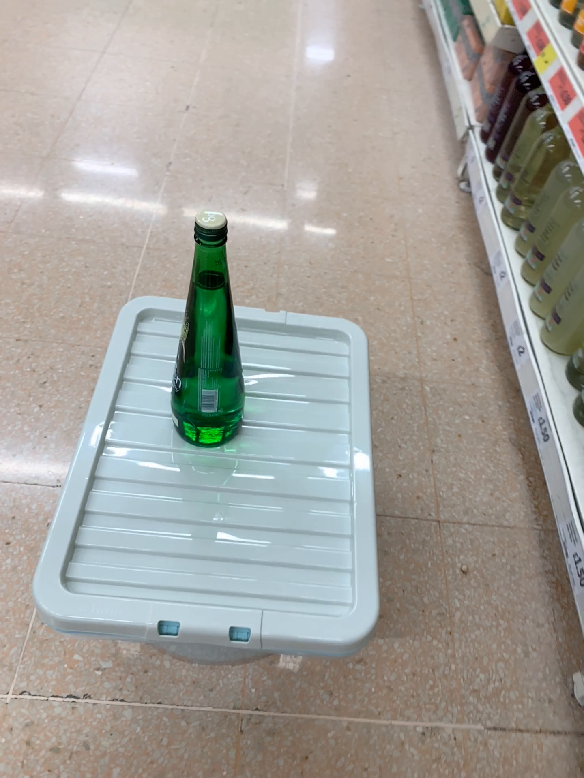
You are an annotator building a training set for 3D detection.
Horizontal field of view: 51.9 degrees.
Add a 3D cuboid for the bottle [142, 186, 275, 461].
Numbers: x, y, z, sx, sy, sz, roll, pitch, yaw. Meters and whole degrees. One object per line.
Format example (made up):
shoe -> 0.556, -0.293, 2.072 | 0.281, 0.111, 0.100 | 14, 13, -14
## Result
bottle -> -0.084, -0.048, 0.623 | 0.093, 0.298, 0.085 | 4, 52, -5
